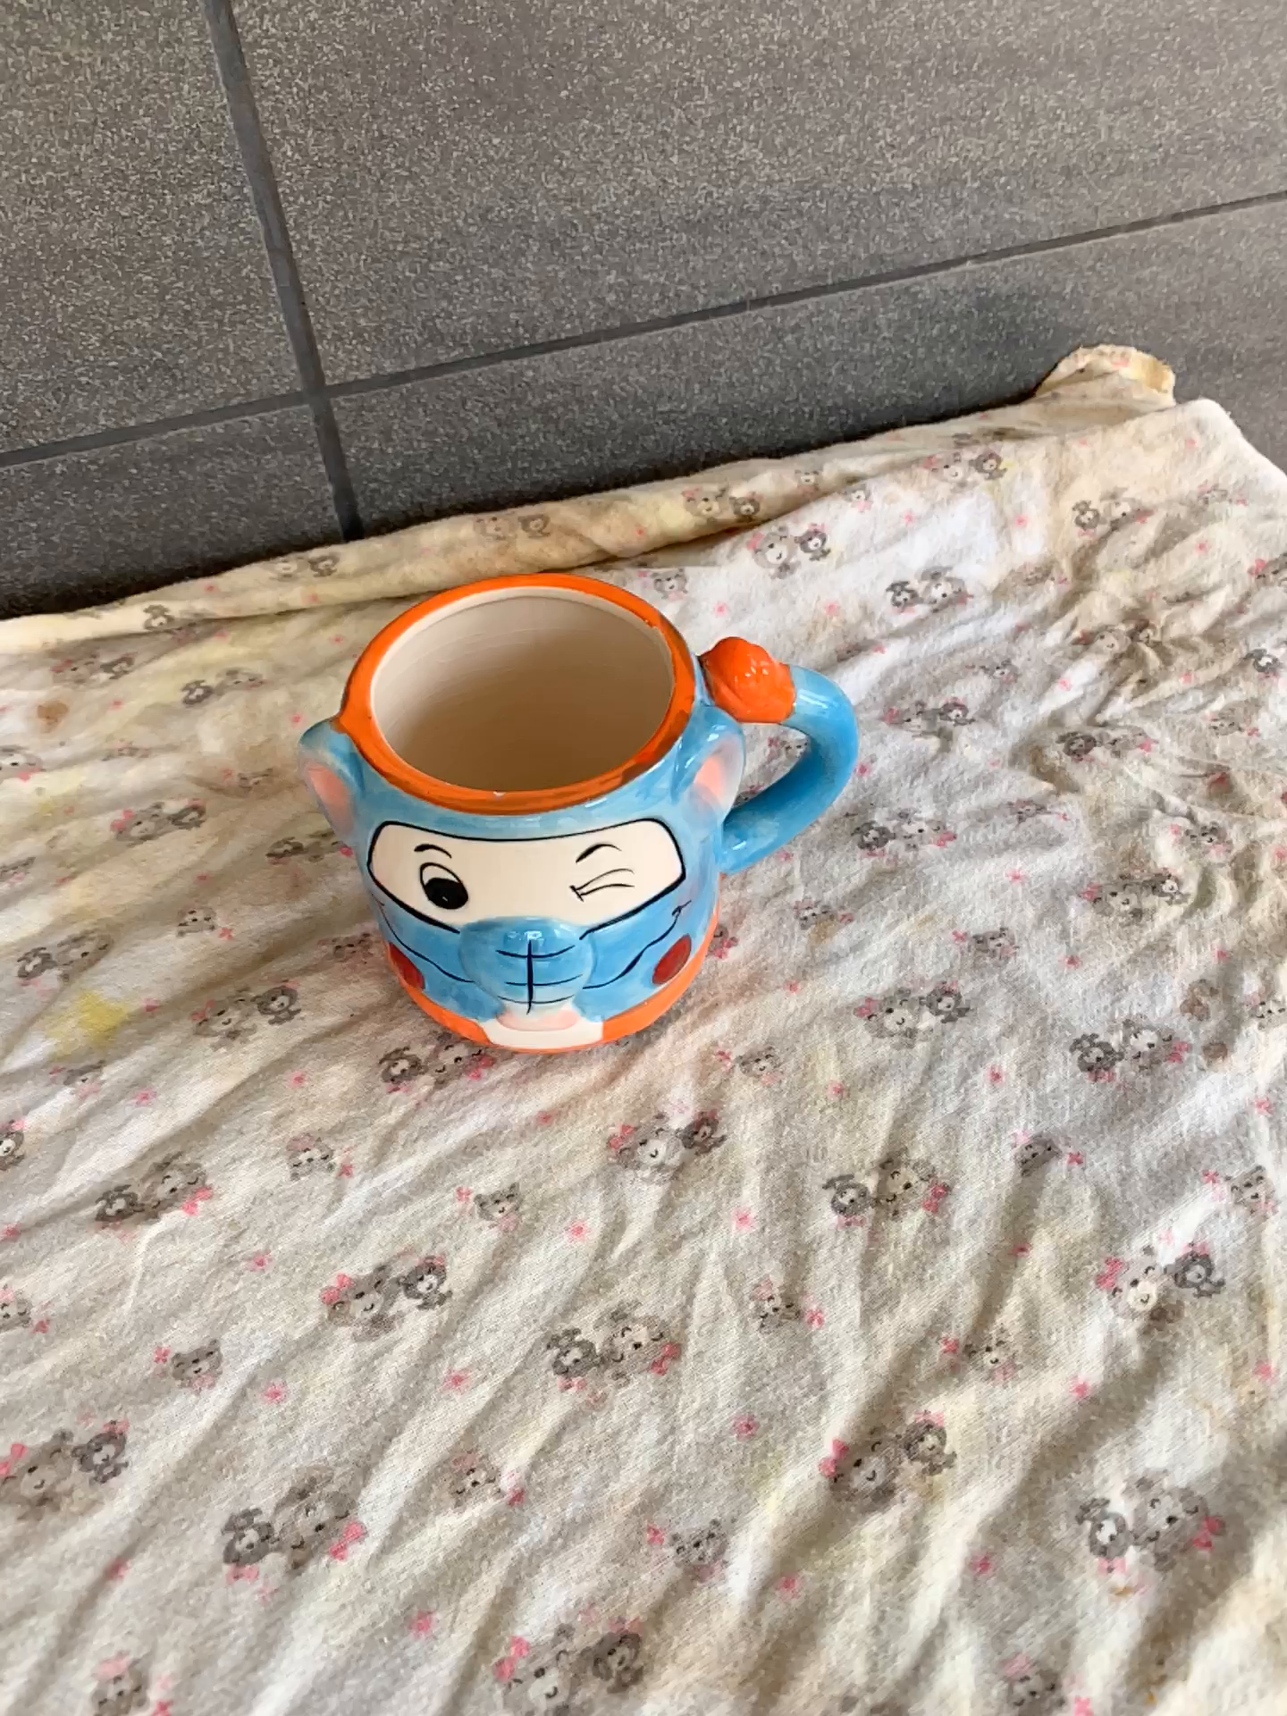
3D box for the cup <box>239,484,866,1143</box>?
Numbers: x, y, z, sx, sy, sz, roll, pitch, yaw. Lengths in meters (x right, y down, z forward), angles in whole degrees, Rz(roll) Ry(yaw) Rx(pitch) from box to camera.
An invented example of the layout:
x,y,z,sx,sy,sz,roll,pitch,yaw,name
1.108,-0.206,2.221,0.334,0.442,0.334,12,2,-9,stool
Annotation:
x,y,z,sx,sy,sz,roll,pitch,yaw,name
-0.021,-0.010,0.293,0.110,0.090,0.090,-11,49,-5,cup
